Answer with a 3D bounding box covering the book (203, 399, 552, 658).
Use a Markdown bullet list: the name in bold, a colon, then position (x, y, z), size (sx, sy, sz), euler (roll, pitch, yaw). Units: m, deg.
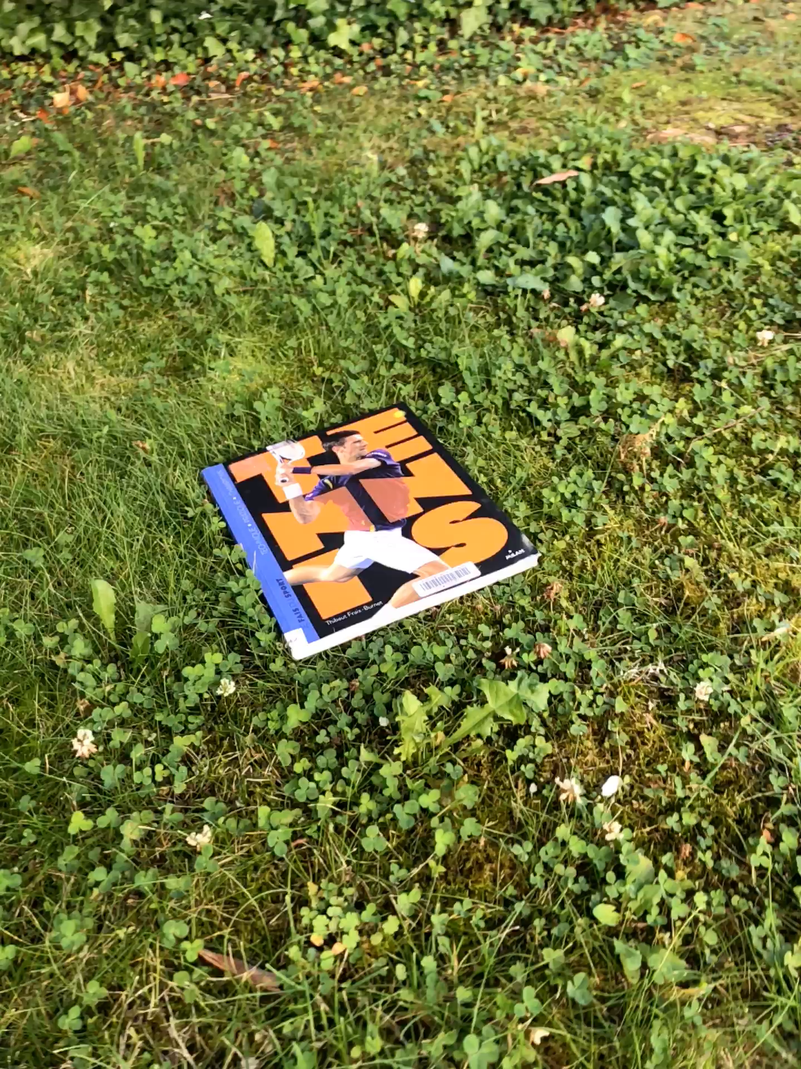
- **book**: position (-0.029, -0.021, 0.706), size (0.198, 0.016, 0.241), euler (-19, 42, -18)
